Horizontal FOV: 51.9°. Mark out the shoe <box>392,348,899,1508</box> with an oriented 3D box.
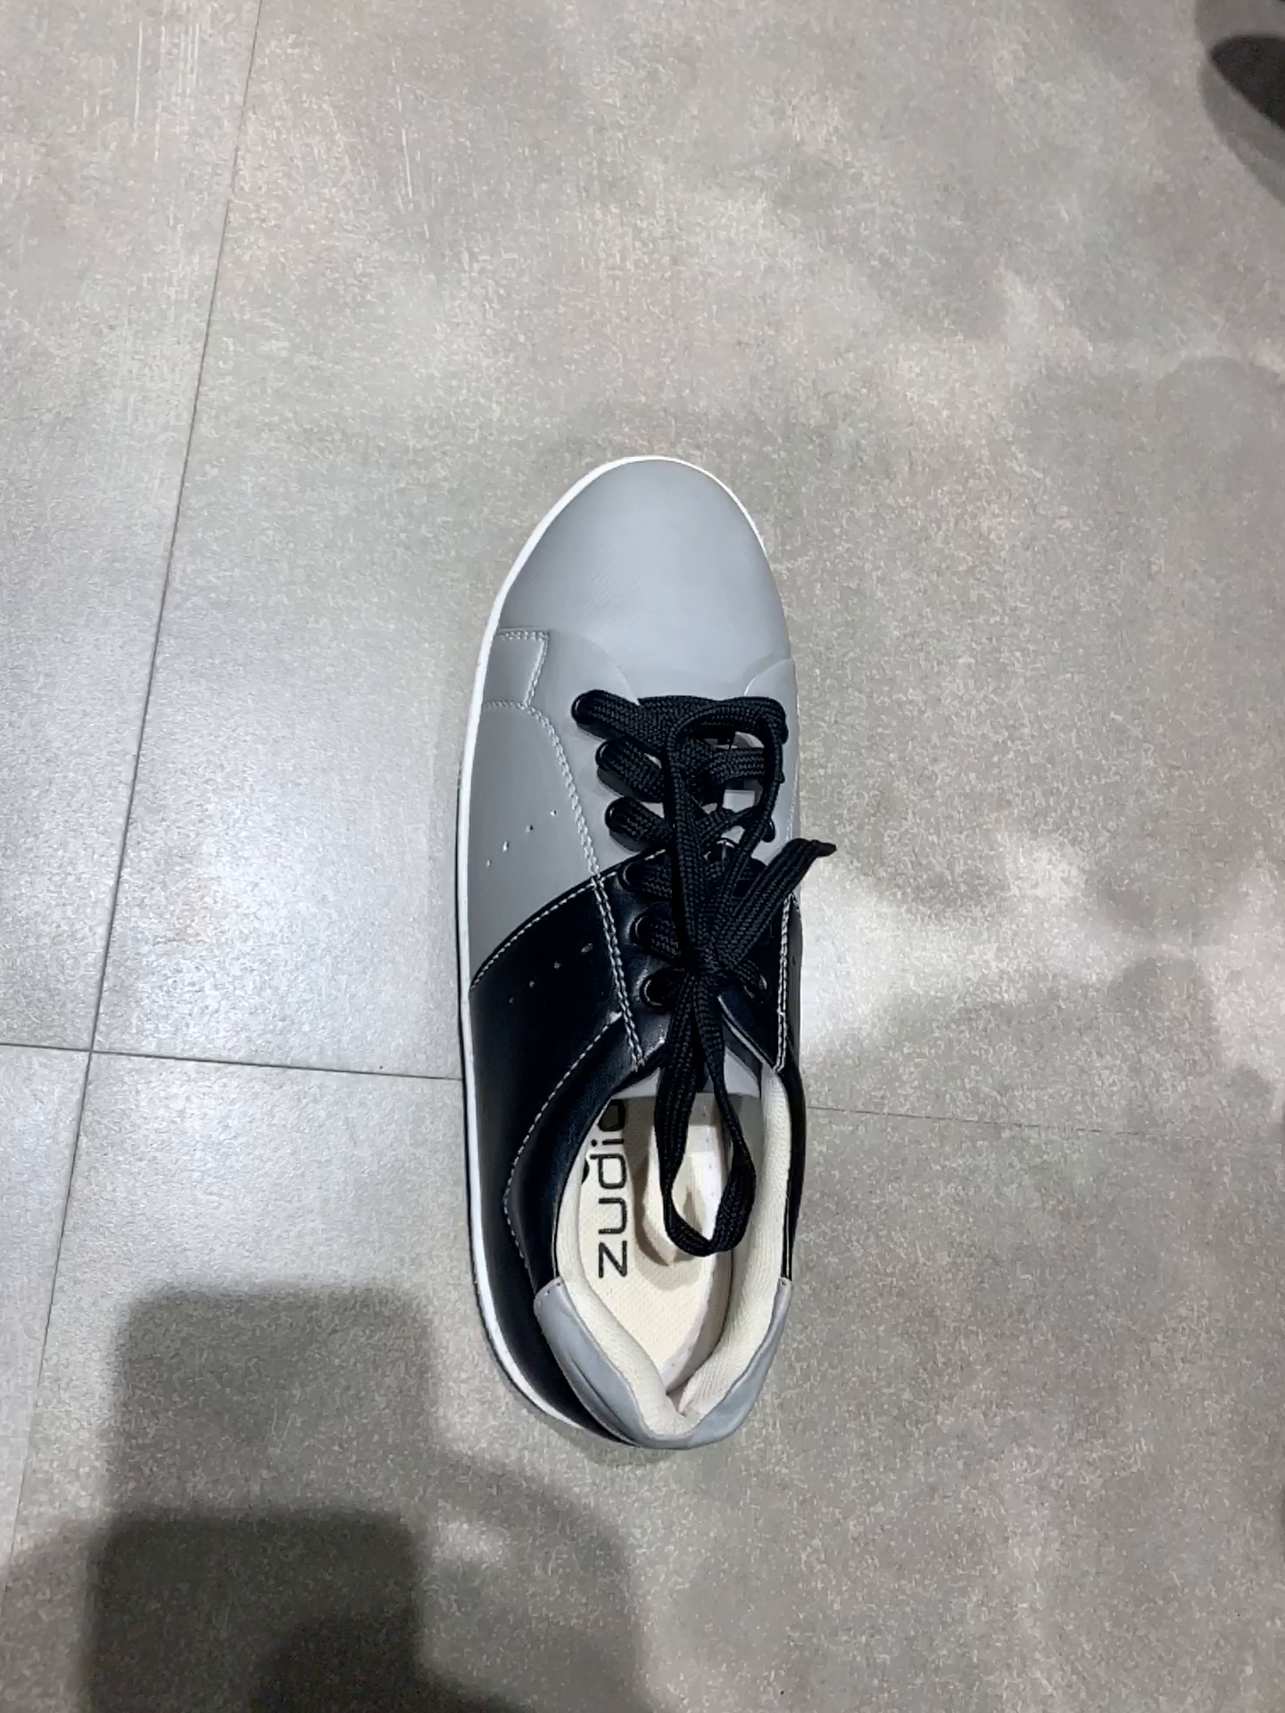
[{"bbox_3d":[-0.006,0.016,0.351,0.101,0.093,0.263,3,75,-15],"label":"shoe"}]
